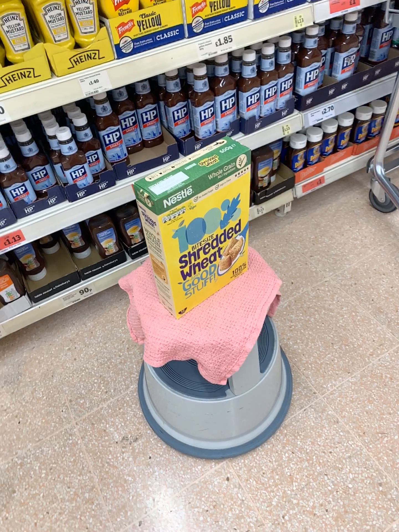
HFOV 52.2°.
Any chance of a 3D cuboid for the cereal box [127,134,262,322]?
[{"bbox_3d":[0.008,-0.059,0.734,0.211,0.278,0.070,-32,51,-21],"label":"cereal box"}]
